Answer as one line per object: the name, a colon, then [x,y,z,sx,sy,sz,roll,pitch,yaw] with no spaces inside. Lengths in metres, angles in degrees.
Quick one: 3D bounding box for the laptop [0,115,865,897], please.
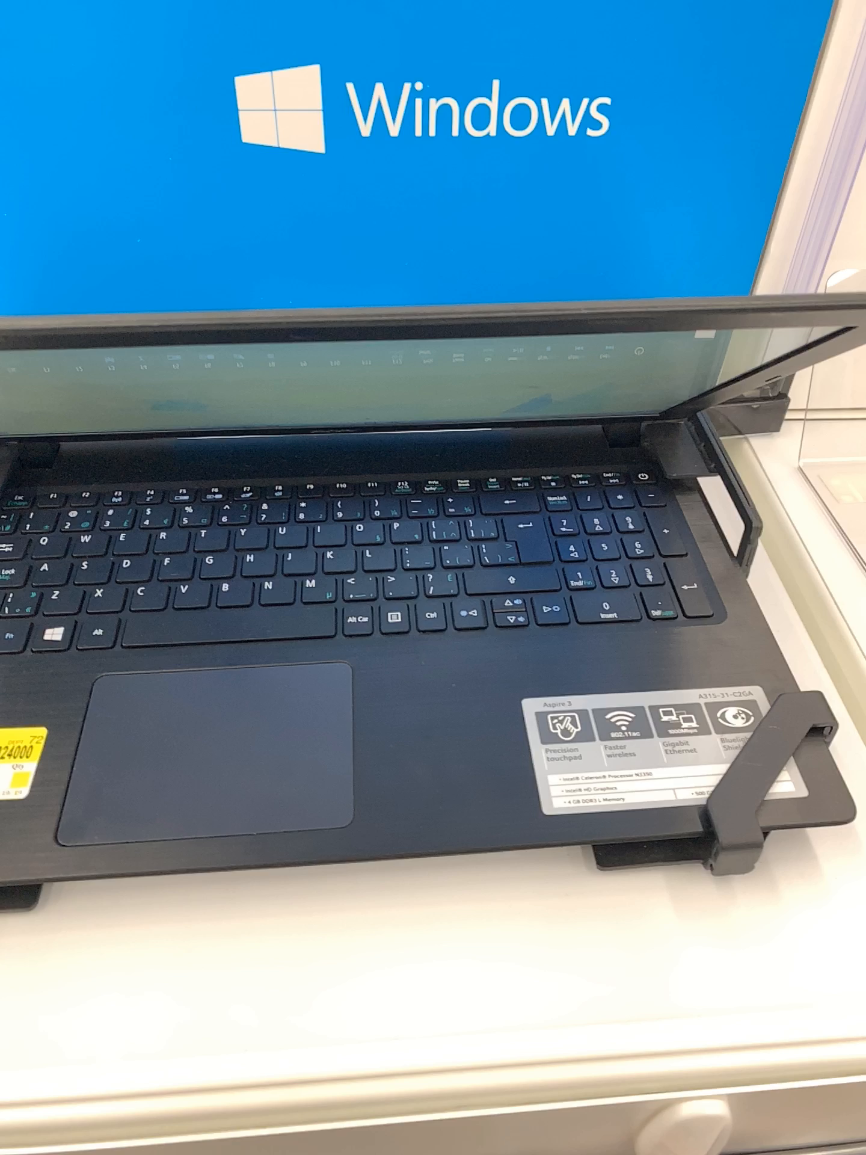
laptop: [-0.038,-0.045,0.312,0.344,0.147,0.227,-3,45,-5]
